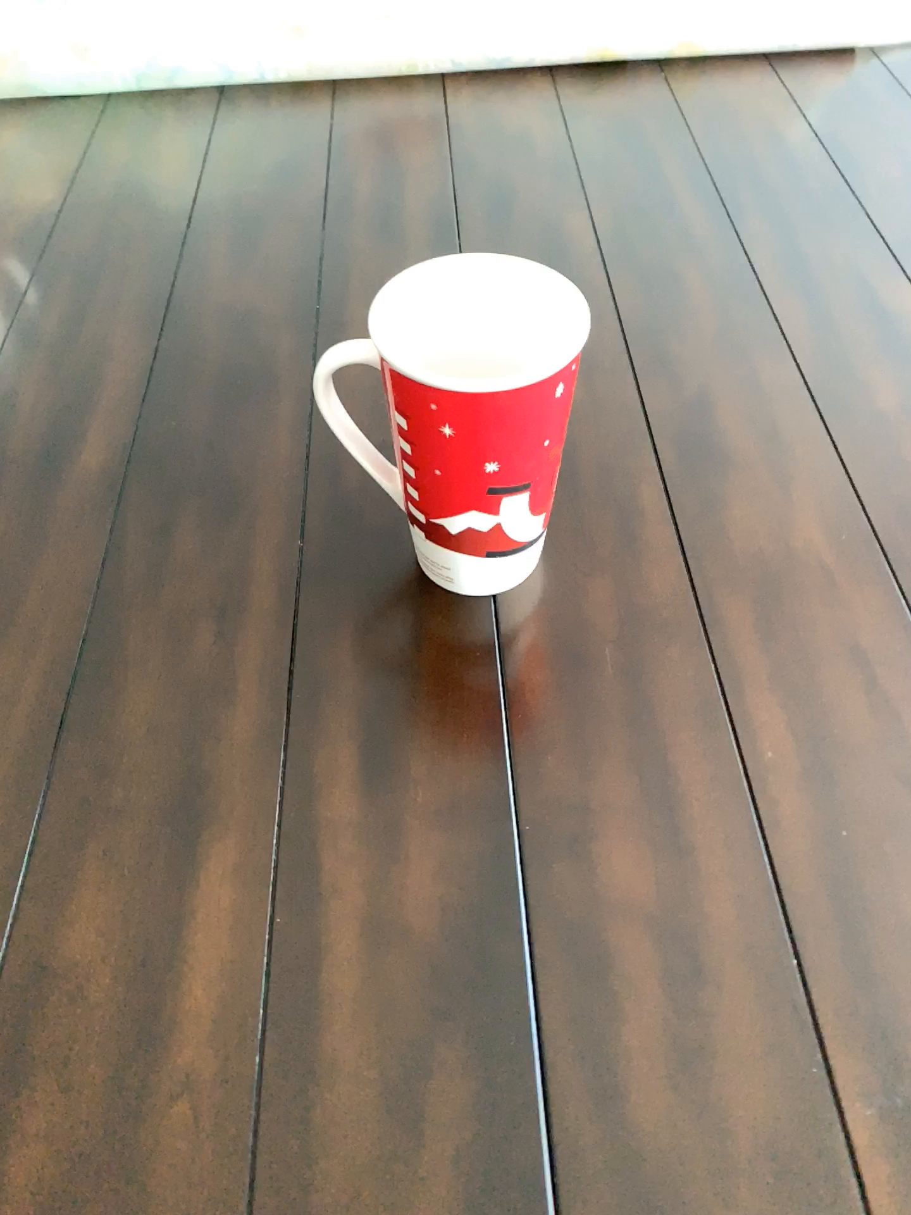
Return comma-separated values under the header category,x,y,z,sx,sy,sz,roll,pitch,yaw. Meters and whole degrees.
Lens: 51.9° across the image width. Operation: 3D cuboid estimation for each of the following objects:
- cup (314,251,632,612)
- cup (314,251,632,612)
category,x,y,z,sx,sy,sz,roll,pitch,yaw
cup,0.003,-0.086,0.465,0.130,0.120,0.120,-1,50,1
cup,0.003,-0.086,0.465,0.130,0.120,0.120,-1,50,1
